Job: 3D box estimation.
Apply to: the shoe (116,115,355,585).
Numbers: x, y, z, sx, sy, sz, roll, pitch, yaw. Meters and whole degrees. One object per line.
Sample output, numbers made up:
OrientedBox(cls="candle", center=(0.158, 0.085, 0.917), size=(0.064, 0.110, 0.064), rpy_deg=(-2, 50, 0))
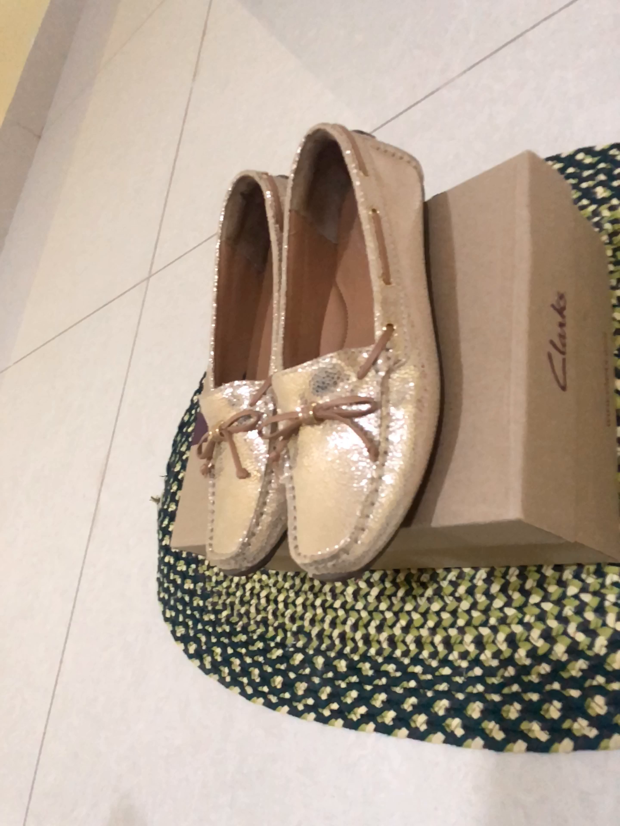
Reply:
OrientedBox(cls="shoe", center=(-0.039, -0.041, 0.427), size=(0.091, 0.060, 0.280), rpy_deg=(-16, 58, 43))

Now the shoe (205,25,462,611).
OrientedBox(cls="shoe", center=(0.022, -0.056, 0.372), size=(0.091, 0.060, 0.310), rpy_deg=(-16, 58, 43))
